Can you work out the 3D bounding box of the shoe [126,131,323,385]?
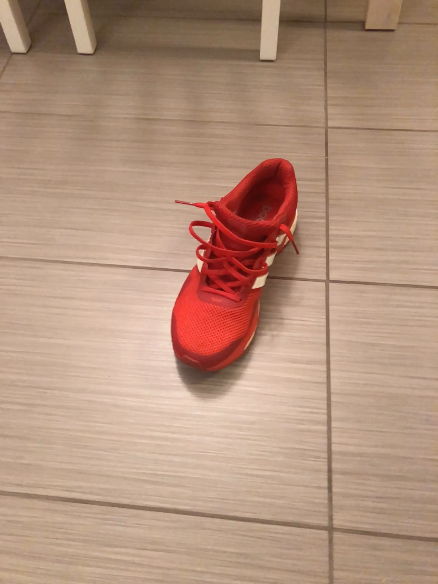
[{"bbox_3d":[0.019,-0.052,0.597,0.120,0.100,0.291,20,62,14],"label":"shoe"}]
